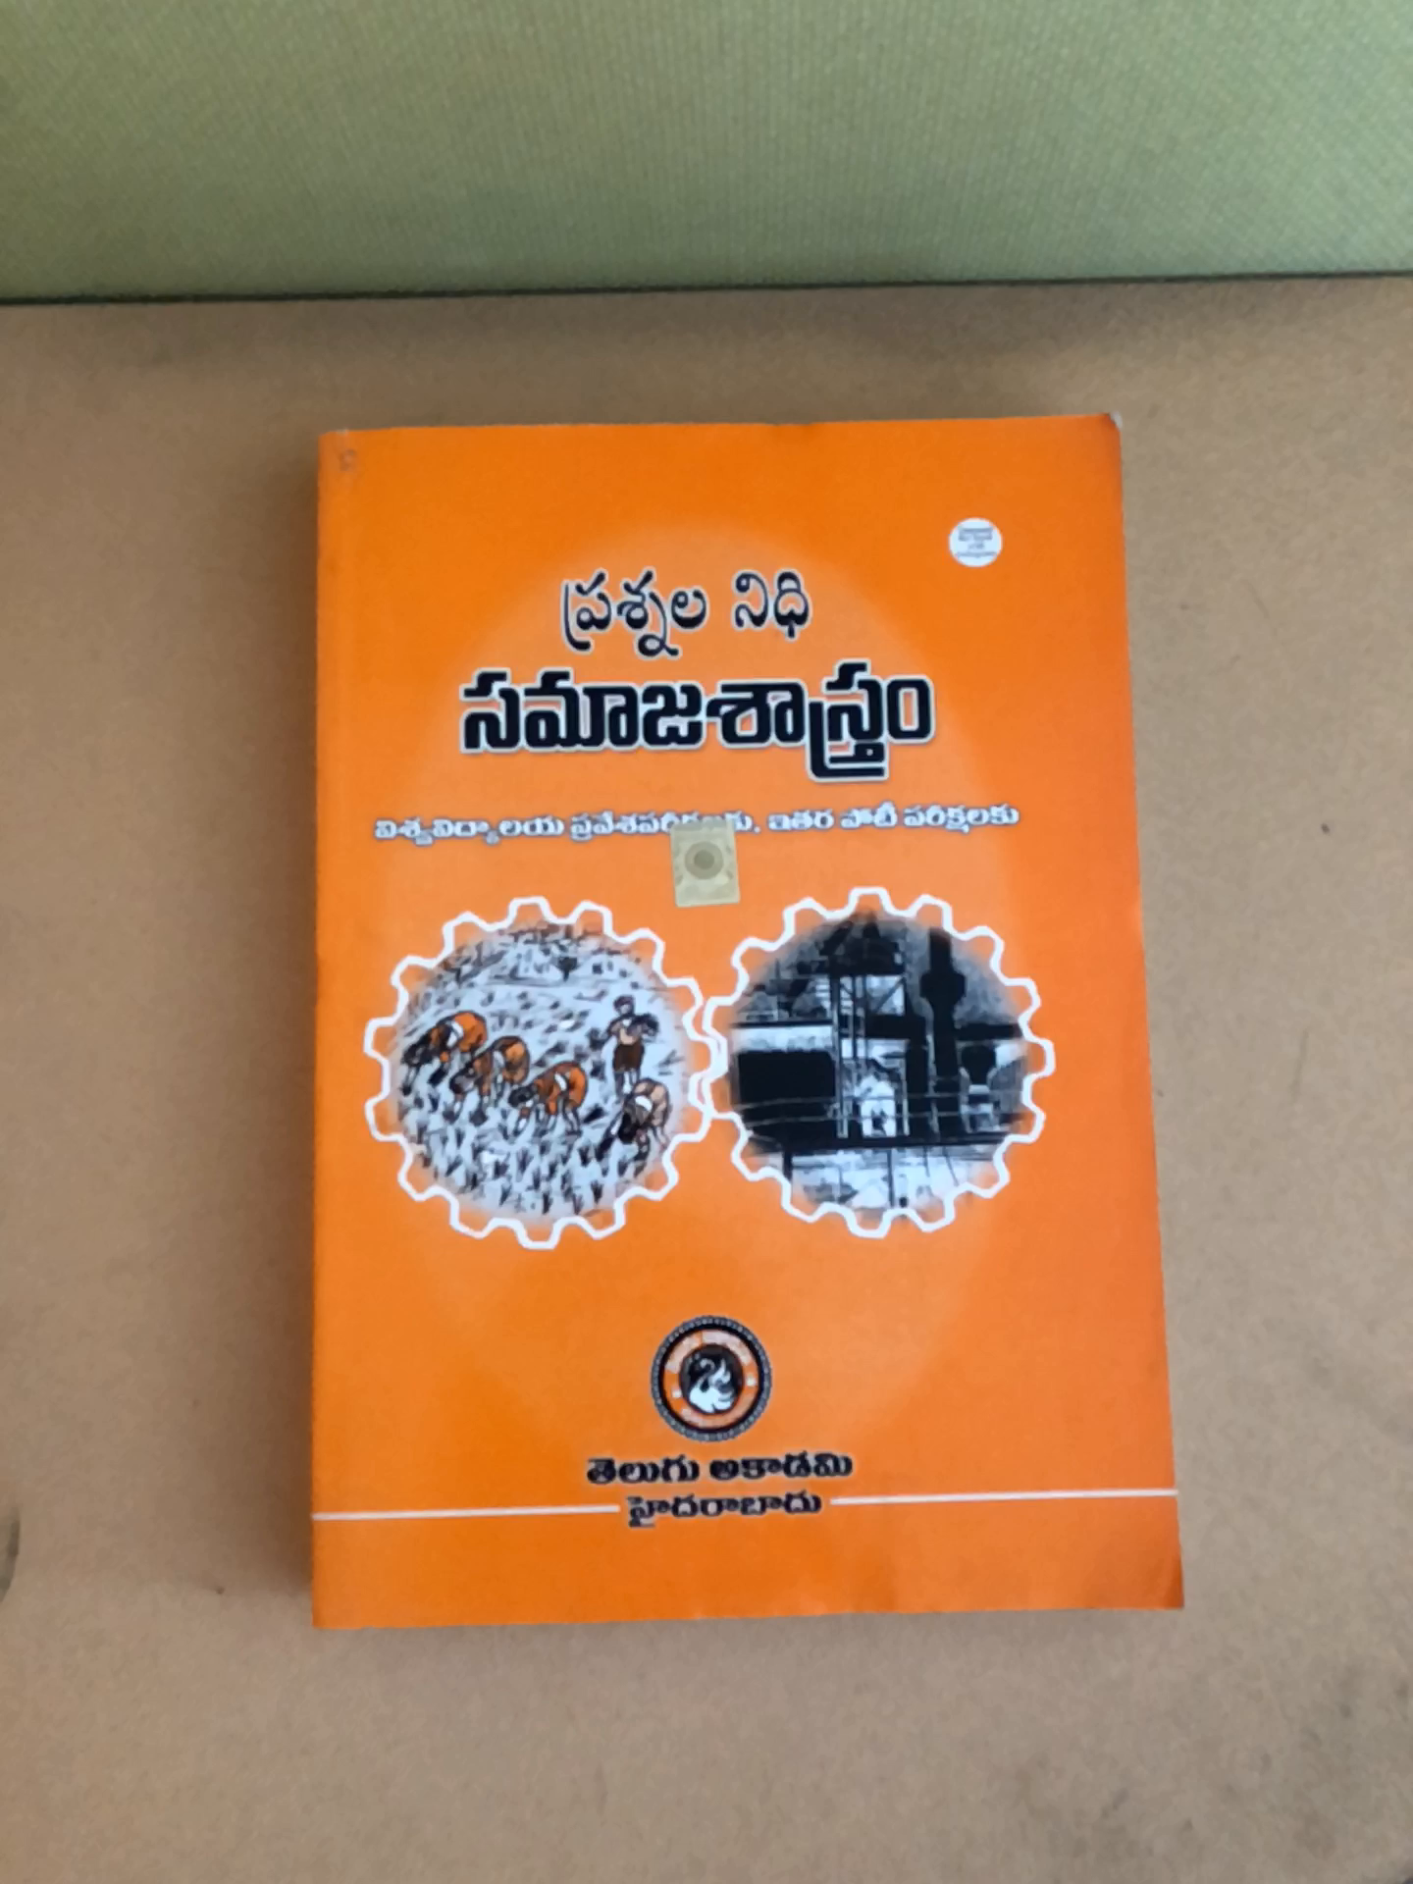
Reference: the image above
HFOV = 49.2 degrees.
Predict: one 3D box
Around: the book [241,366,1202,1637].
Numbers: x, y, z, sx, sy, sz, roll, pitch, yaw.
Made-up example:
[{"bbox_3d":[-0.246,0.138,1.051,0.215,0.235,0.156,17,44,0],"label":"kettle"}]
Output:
[{"bbox_3d":[0.000,0.009,0.381,0.210,0.050,0.290,-1,82,0],"label":"book"}]
